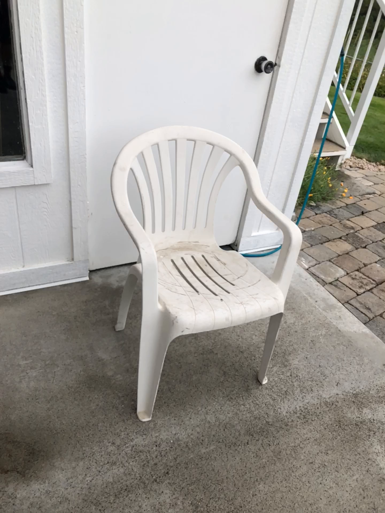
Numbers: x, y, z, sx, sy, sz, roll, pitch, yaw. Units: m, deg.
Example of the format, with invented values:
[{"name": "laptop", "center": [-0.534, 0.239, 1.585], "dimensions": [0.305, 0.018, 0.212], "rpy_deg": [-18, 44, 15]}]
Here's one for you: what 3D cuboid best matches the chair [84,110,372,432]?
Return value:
[{"name": "chair", "center": [0.028, 0.011, 1.341], "dimensions": [0.600, 0.777, 0.512], "rpy_deg": [-10, 38, -25]}]
